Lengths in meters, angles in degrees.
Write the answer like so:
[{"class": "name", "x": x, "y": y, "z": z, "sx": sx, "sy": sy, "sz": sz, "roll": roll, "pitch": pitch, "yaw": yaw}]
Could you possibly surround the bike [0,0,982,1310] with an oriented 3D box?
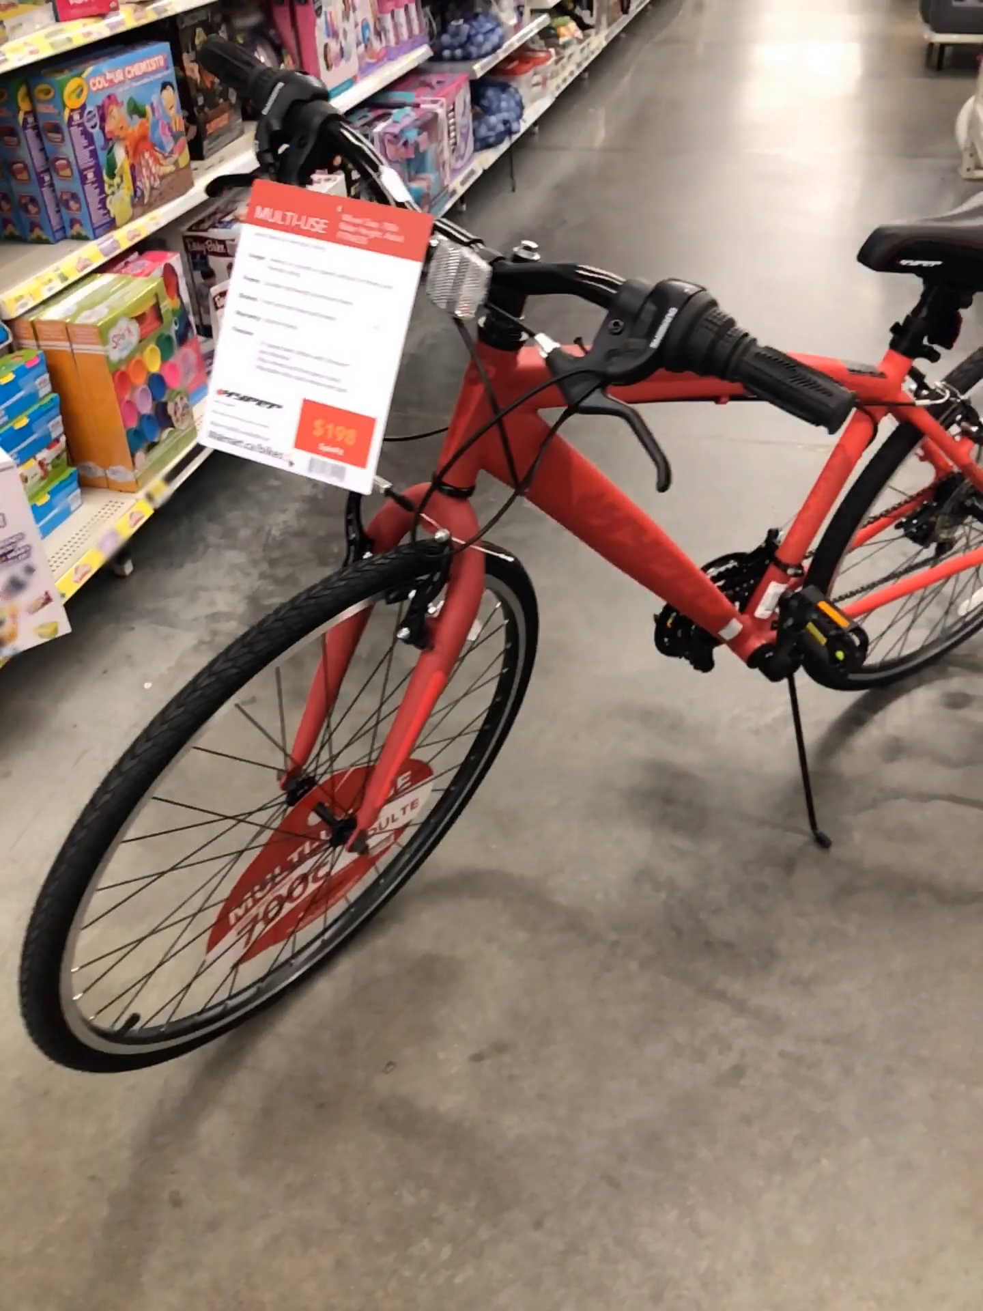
[{"class": "bike", "x": 0.289, "y": -0.108, "z": 1.224, "sx": 1.689, "sy": 1.000, "sz": 0.616, "roll": -26, "pitch": 44, "yaw": -25}]
